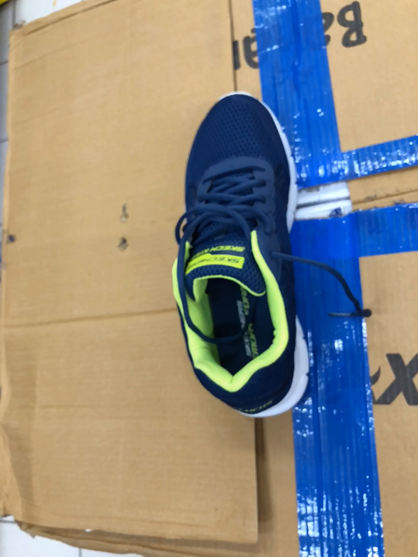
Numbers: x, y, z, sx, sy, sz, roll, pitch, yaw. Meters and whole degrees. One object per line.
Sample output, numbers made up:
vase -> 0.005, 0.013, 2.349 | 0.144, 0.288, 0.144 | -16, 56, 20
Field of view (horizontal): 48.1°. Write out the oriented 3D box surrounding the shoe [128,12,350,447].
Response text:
shoe -> 0.026, -0.029, 0.381 | 0.110, 0.130, 0.290 | -11, 77, 21
